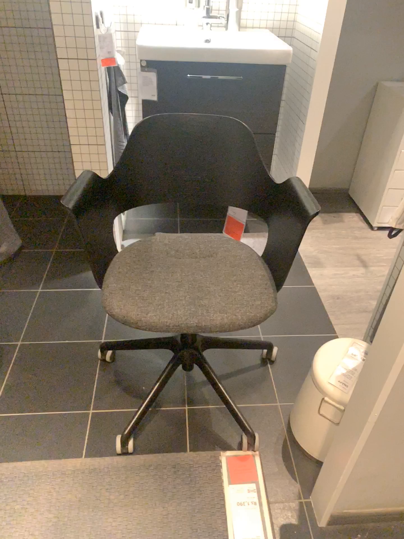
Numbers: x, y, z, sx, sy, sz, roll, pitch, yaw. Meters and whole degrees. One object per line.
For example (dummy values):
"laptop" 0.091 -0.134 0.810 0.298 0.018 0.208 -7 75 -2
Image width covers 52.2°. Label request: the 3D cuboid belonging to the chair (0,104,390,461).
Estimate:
"chair" -0.038 0.023 1.123 0.640 0.737 0.603 0 36 -4
